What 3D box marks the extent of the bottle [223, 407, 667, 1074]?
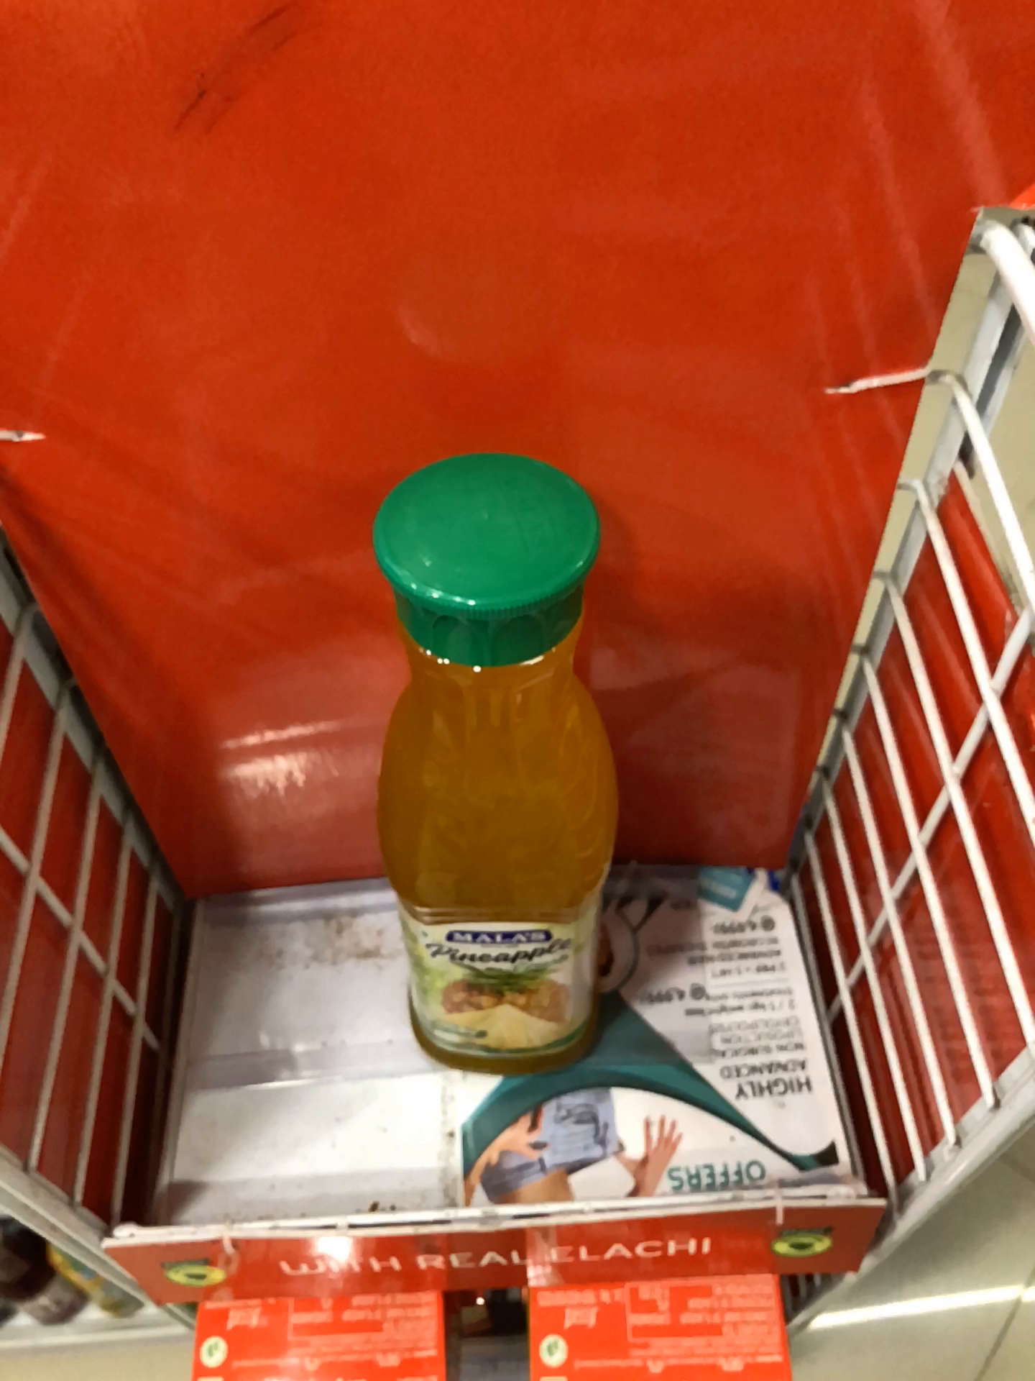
[{"bbox_3d":[-0.012,0.039,0.358,0.090,0.259,0.070,0,53,1],"label":"bottle"}]
